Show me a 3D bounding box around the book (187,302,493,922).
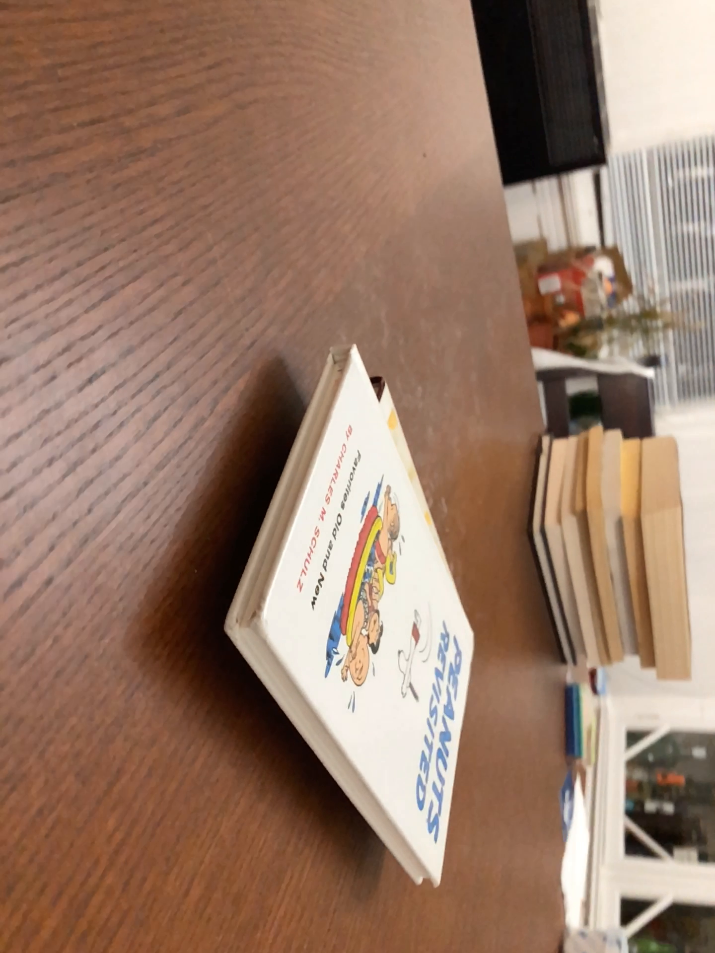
[{"bbox_3d":[0.015,0.063,0.328,0.210,0.020,0.161,64,30,-41],"label":"book"}]
